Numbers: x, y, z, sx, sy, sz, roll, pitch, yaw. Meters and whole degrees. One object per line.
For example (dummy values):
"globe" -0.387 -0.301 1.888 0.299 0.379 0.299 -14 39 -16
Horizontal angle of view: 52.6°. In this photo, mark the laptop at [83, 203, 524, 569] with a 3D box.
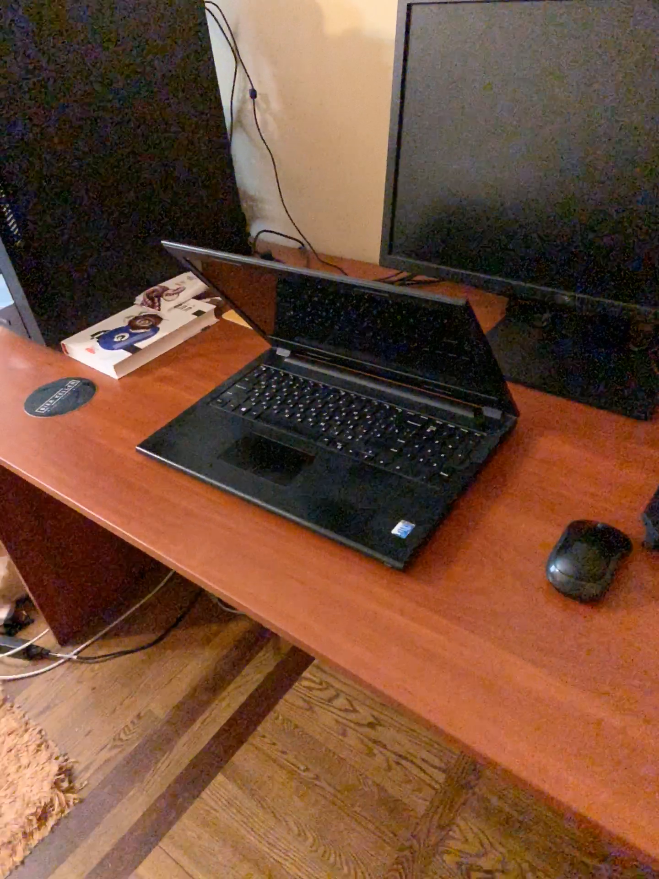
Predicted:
"laptop" -0.022 -0.089 0.731 0.373 0.212 0.254 20 45 31
